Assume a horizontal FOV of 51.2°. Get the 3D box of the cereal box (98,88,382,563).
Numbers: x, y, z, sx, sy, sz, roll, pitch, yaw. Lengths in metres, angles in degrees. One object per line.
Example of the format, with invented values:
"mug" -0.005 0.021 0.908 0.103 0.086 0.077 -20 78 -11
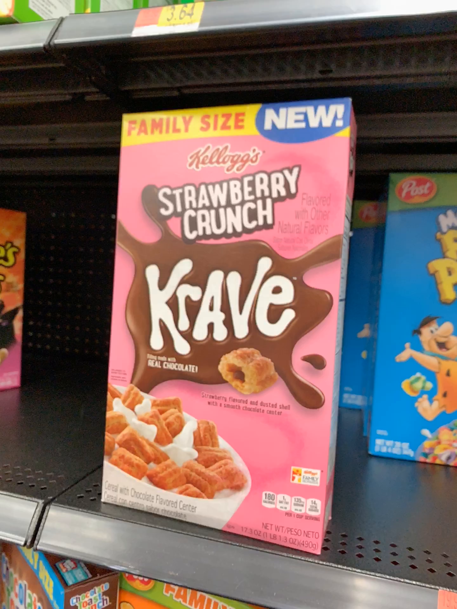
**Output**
"cereal box" 0.007 0.008 0.391 0.200 0.330 0.060 5 1 19
